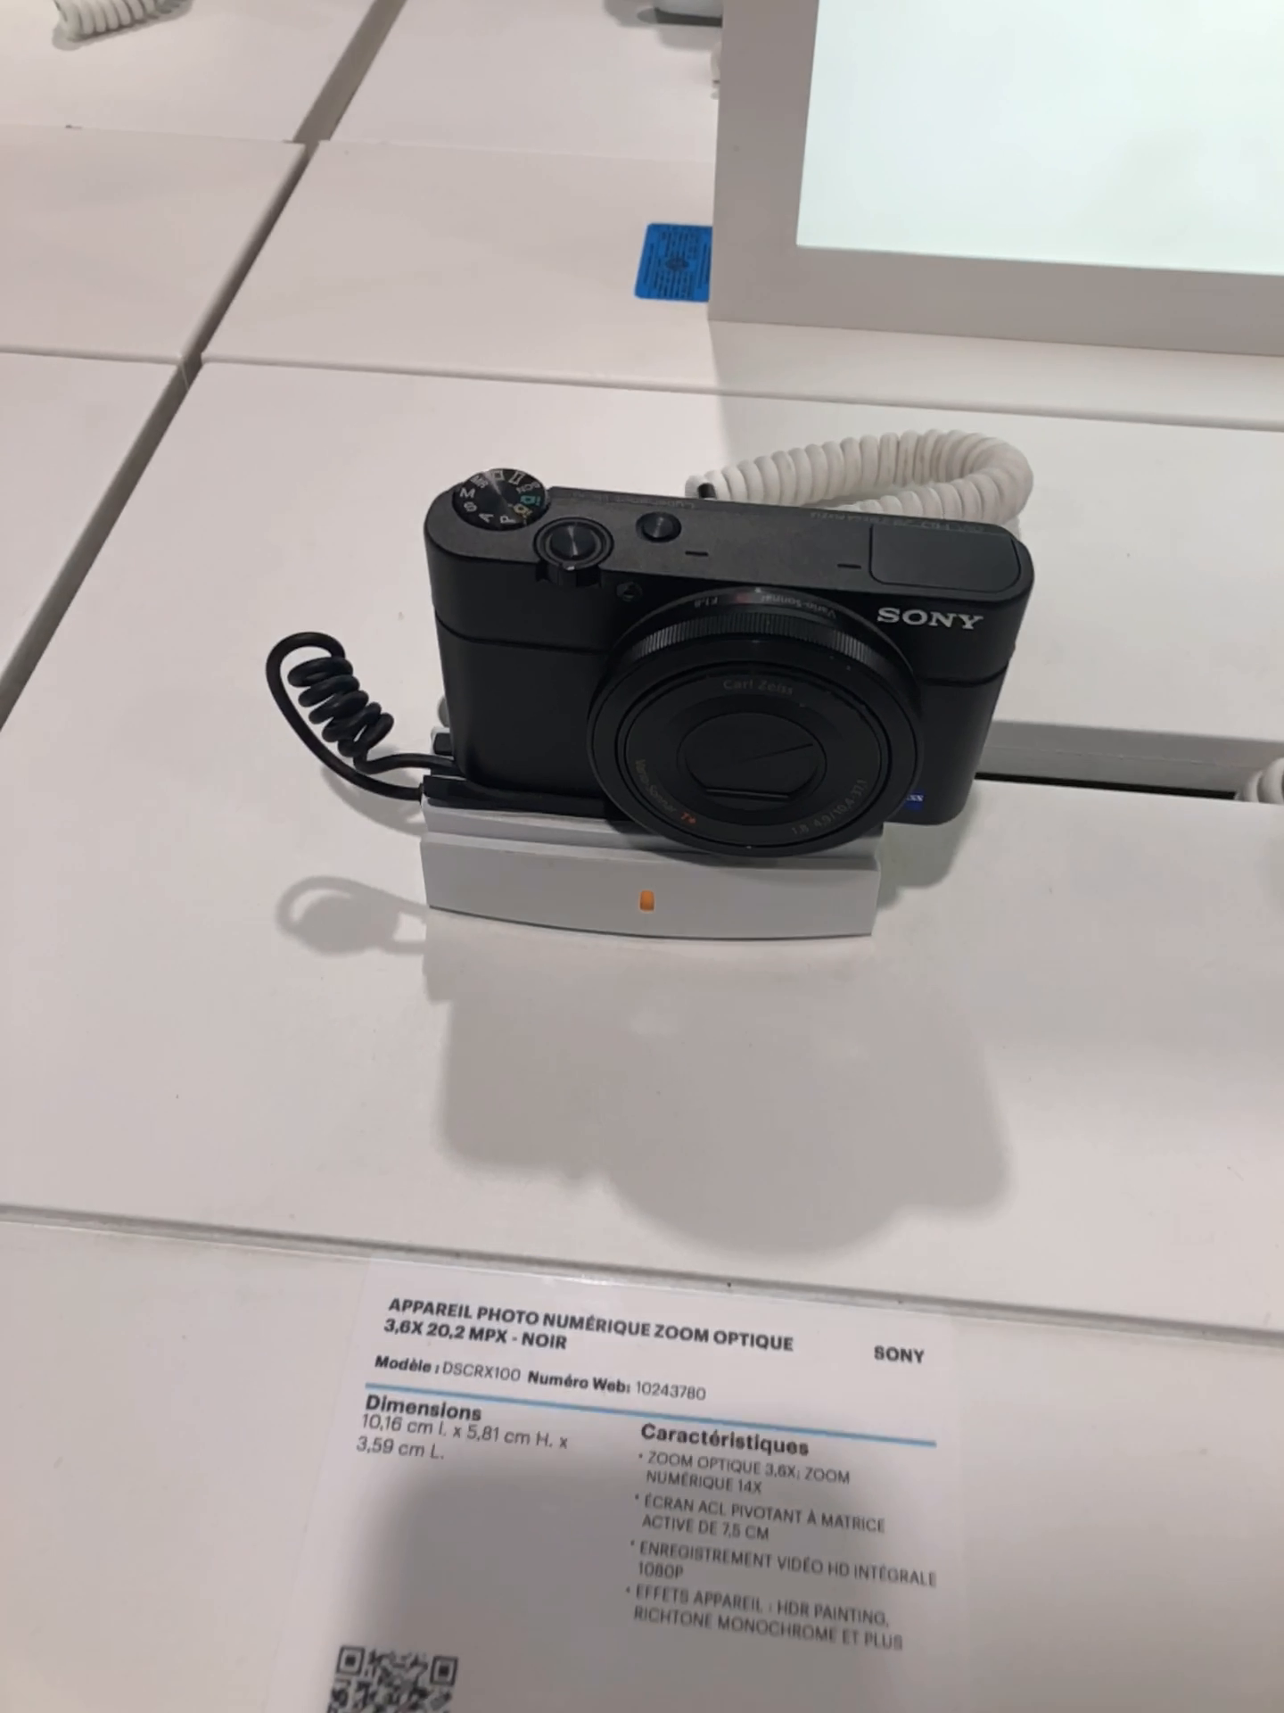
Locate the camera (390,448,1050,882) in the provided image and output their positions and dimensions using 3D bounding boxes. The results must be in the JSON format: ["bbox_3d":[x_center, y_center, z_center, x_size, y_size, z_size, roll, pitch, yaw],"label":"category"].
[{"bbox_3d":[0.013,-0.033,0.248,0.100,0.056,0.036,6,48,4],"label":"camera"}]
